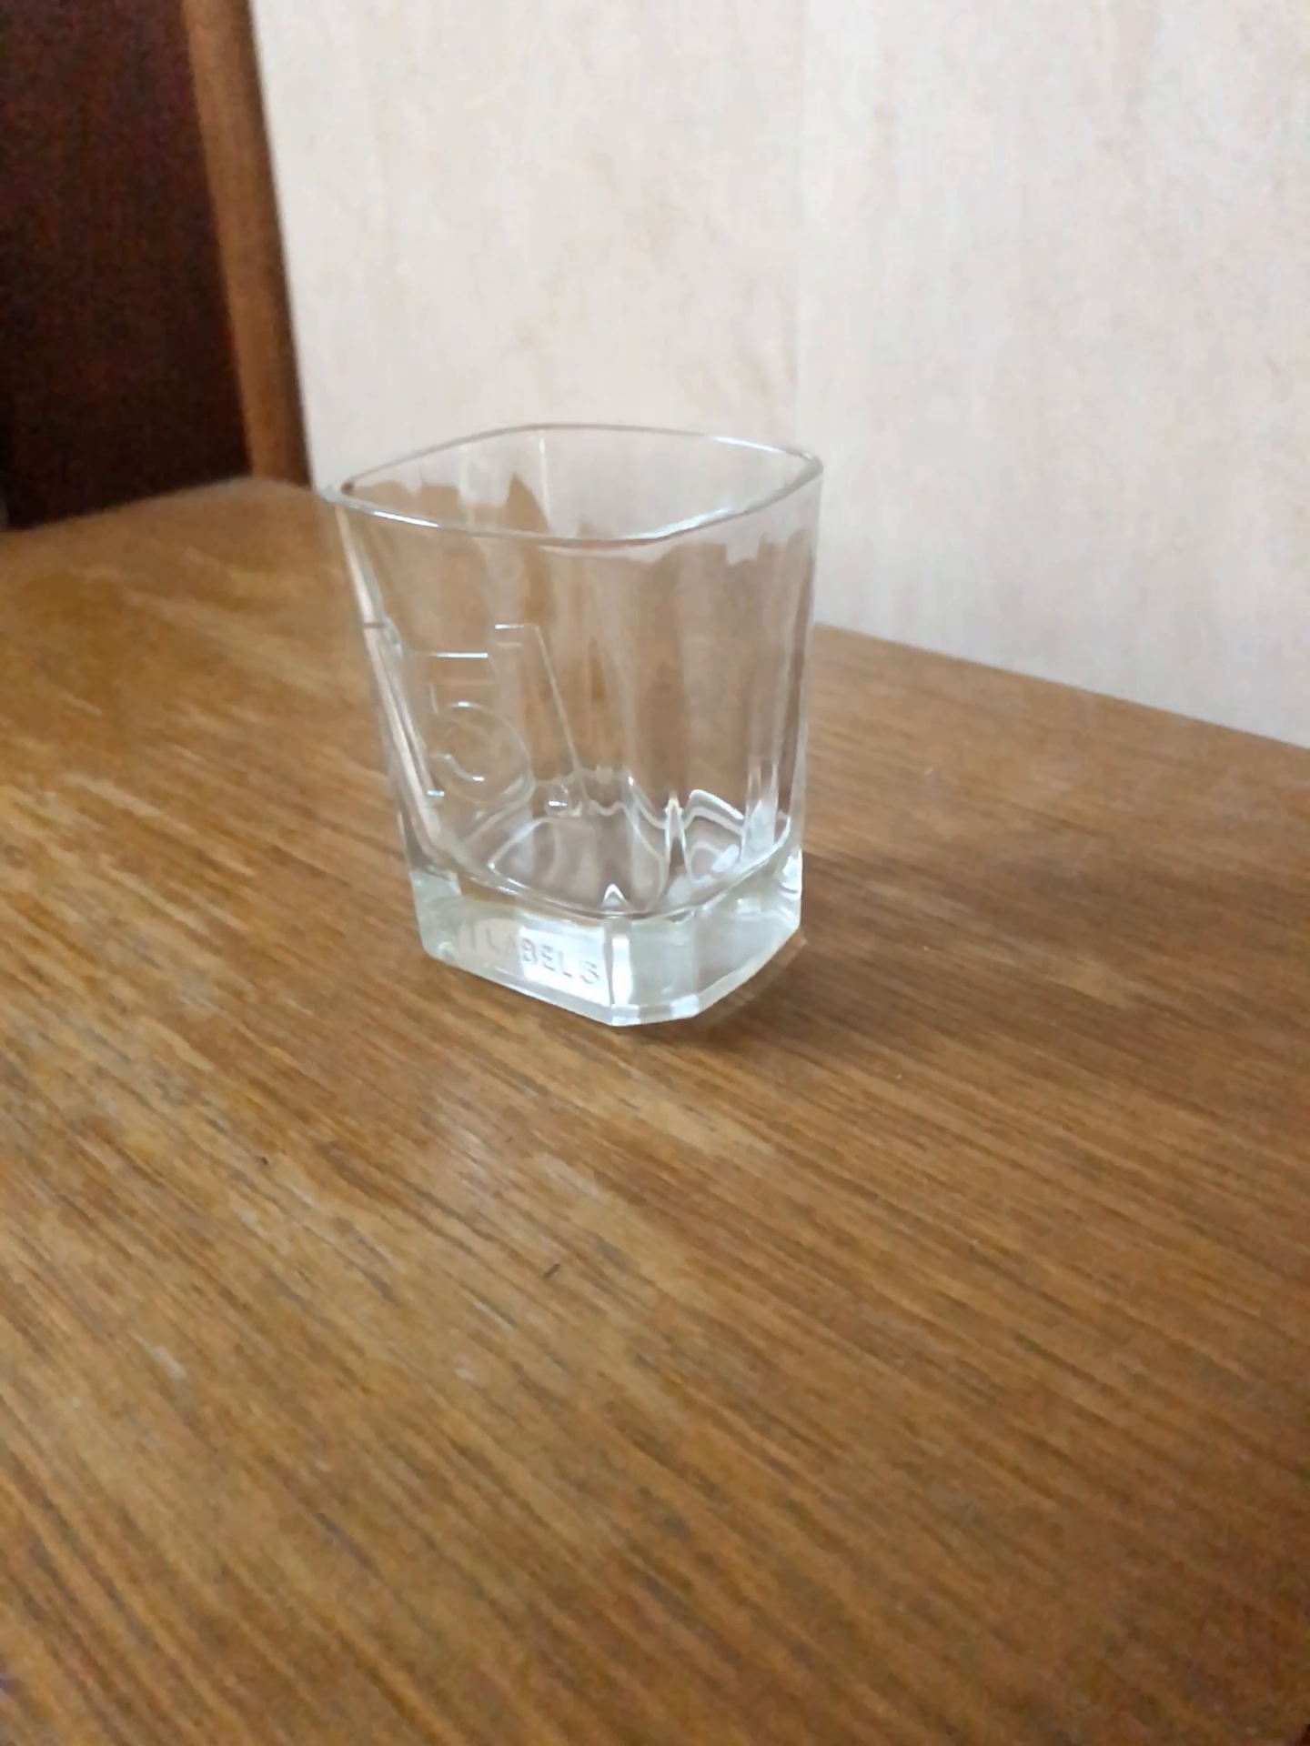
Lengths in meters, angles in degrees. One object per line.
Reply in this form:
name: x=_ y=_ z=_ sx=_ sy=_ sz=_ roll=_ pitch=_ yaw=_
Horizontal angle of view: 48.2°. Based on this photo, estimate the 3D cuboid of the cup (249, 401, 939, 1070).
cup: x=-0.006 y=-0.027 z=0.225 sx=0.070 sy=0.070 sz=0.070 roll=-1 pitch=28 yaw=1
